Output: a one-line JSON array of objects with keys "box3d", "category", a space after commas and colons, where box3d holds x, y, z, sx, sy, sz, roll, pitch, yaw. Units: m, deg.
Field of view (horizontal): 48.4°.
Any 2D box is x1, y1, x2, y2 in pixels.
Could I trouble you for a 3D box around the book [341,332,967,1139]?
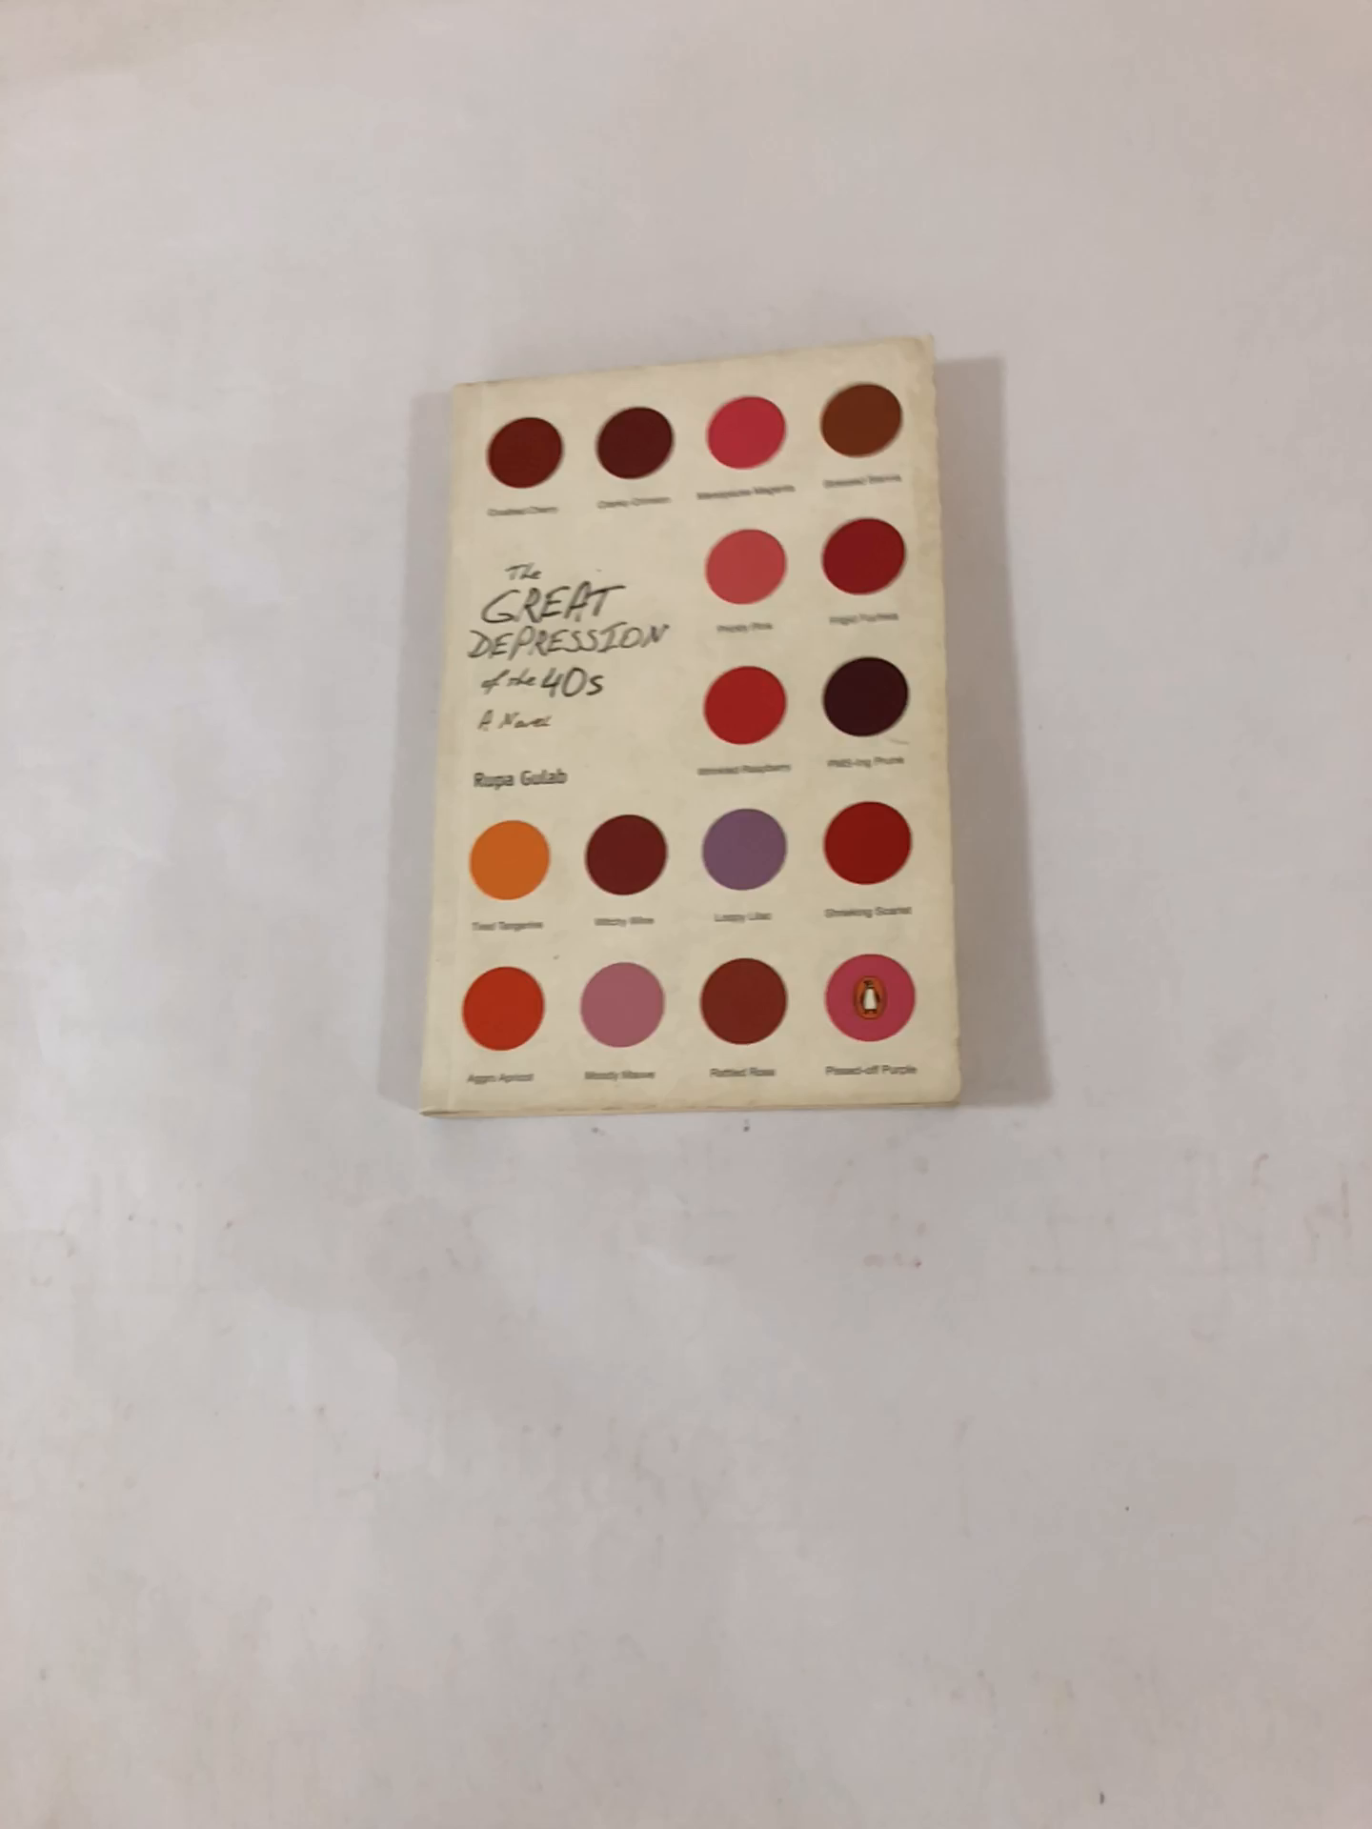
[{"box3d": [-0.007, -0.043, 0.374, 0.140, 0.030, 0.190, -3, 75, 10], "category": "book"}]
